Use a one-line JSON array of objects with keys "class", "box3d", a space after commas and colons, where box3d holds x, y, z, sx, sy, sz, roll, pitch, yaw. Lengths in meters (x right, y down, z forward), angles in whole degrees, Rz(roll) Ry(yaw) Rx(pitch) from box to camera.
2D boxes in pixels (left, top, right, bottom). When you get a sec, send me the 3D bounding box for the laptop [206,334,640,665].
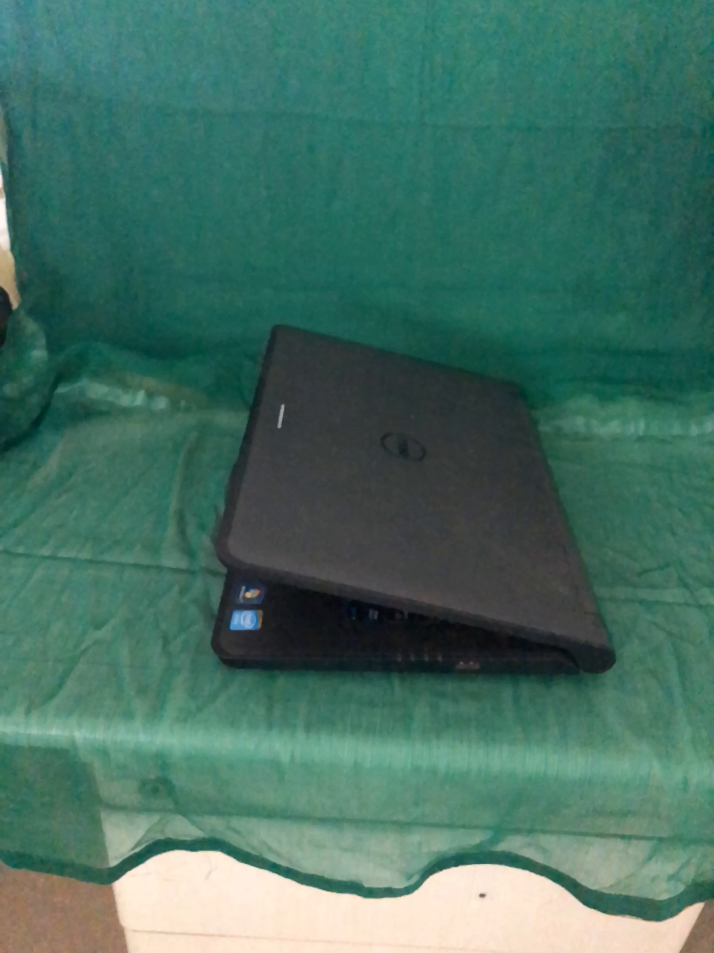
[{"class": "laptop", "box3d": [0.035, -0.007, 0.563, 0.229, 0.064, 0.307, 2, 33, -1]}]
